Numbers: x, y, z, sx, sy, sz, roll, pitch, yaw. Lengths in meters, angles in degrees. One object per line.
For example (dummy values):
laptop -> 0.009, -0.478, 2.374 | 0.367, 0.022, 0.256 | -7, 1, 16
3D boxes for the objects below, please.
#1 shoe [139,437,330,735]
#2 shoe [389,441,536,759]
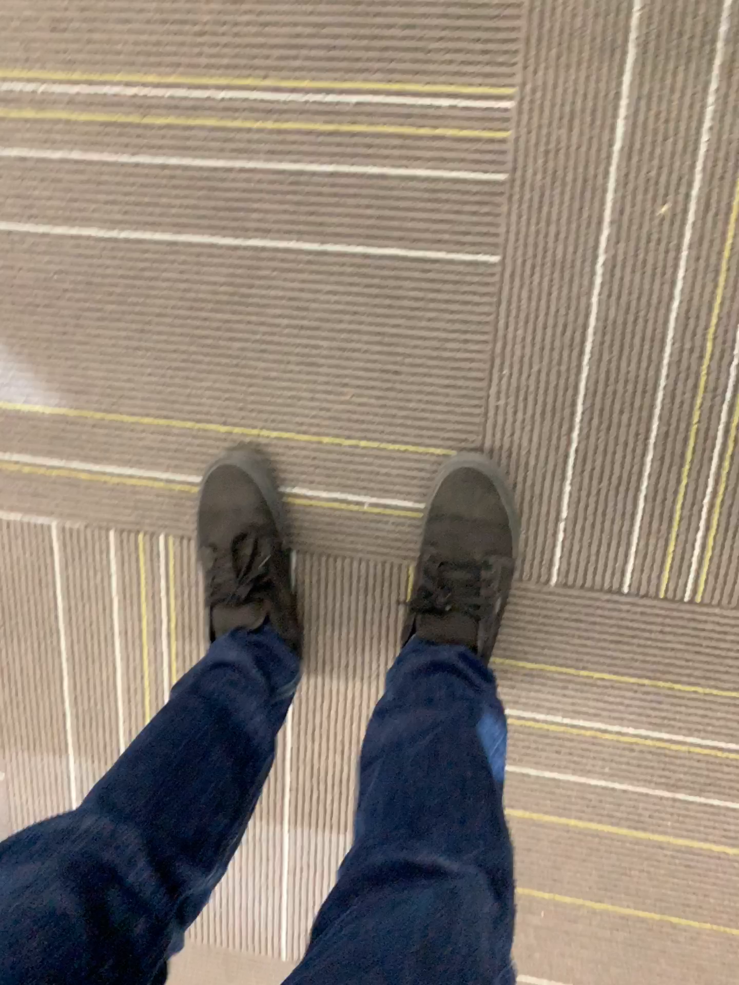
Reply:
shoe -> -0.137, 0.101, 0.827 | 0.109, 0.113, 0.291 | -8, 105, 13
shoe -> 0.094, 0.106, 0.782 | 0.109, 0.113, 0.292 | 7, 107, 9
